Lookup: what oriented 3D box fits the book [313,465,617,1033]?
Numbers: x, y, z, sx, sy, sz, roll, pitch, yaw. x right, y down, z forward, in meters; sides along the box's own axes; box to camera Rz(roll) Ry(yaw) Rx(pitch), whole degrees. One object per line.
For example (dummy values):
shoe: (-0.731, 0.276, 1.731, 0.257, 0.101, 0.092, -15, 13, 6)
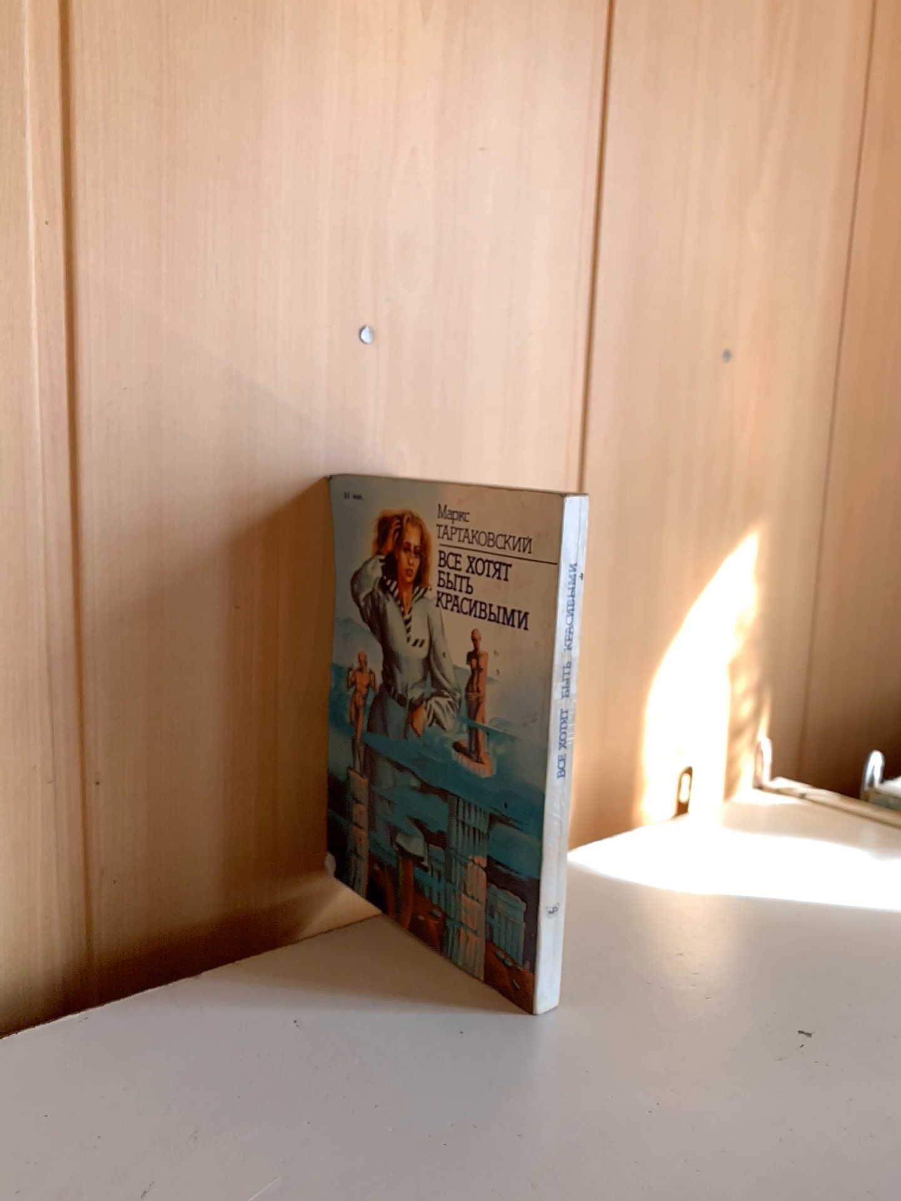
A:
book: (-0.004, 0.037, 0.323, 0.029, 0.159, 0.125, -4, 11, -35)
